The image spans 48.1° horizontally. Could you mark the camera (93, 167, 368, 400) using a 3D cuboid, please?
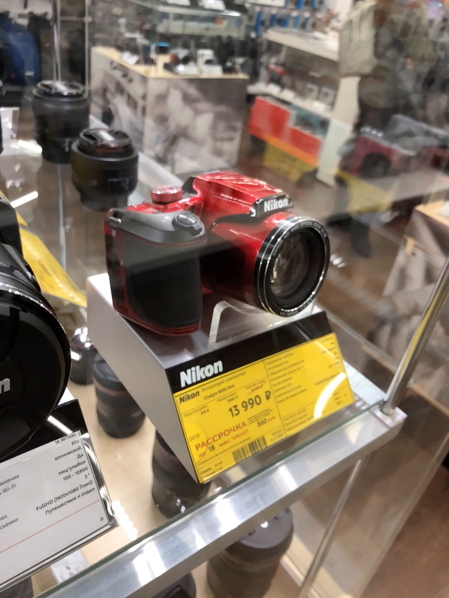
[{"bbox_3d":[-0.002,-0.021,0.315,0.120,0.076,0.110,-17,42,-35],"label":"camera"}]
